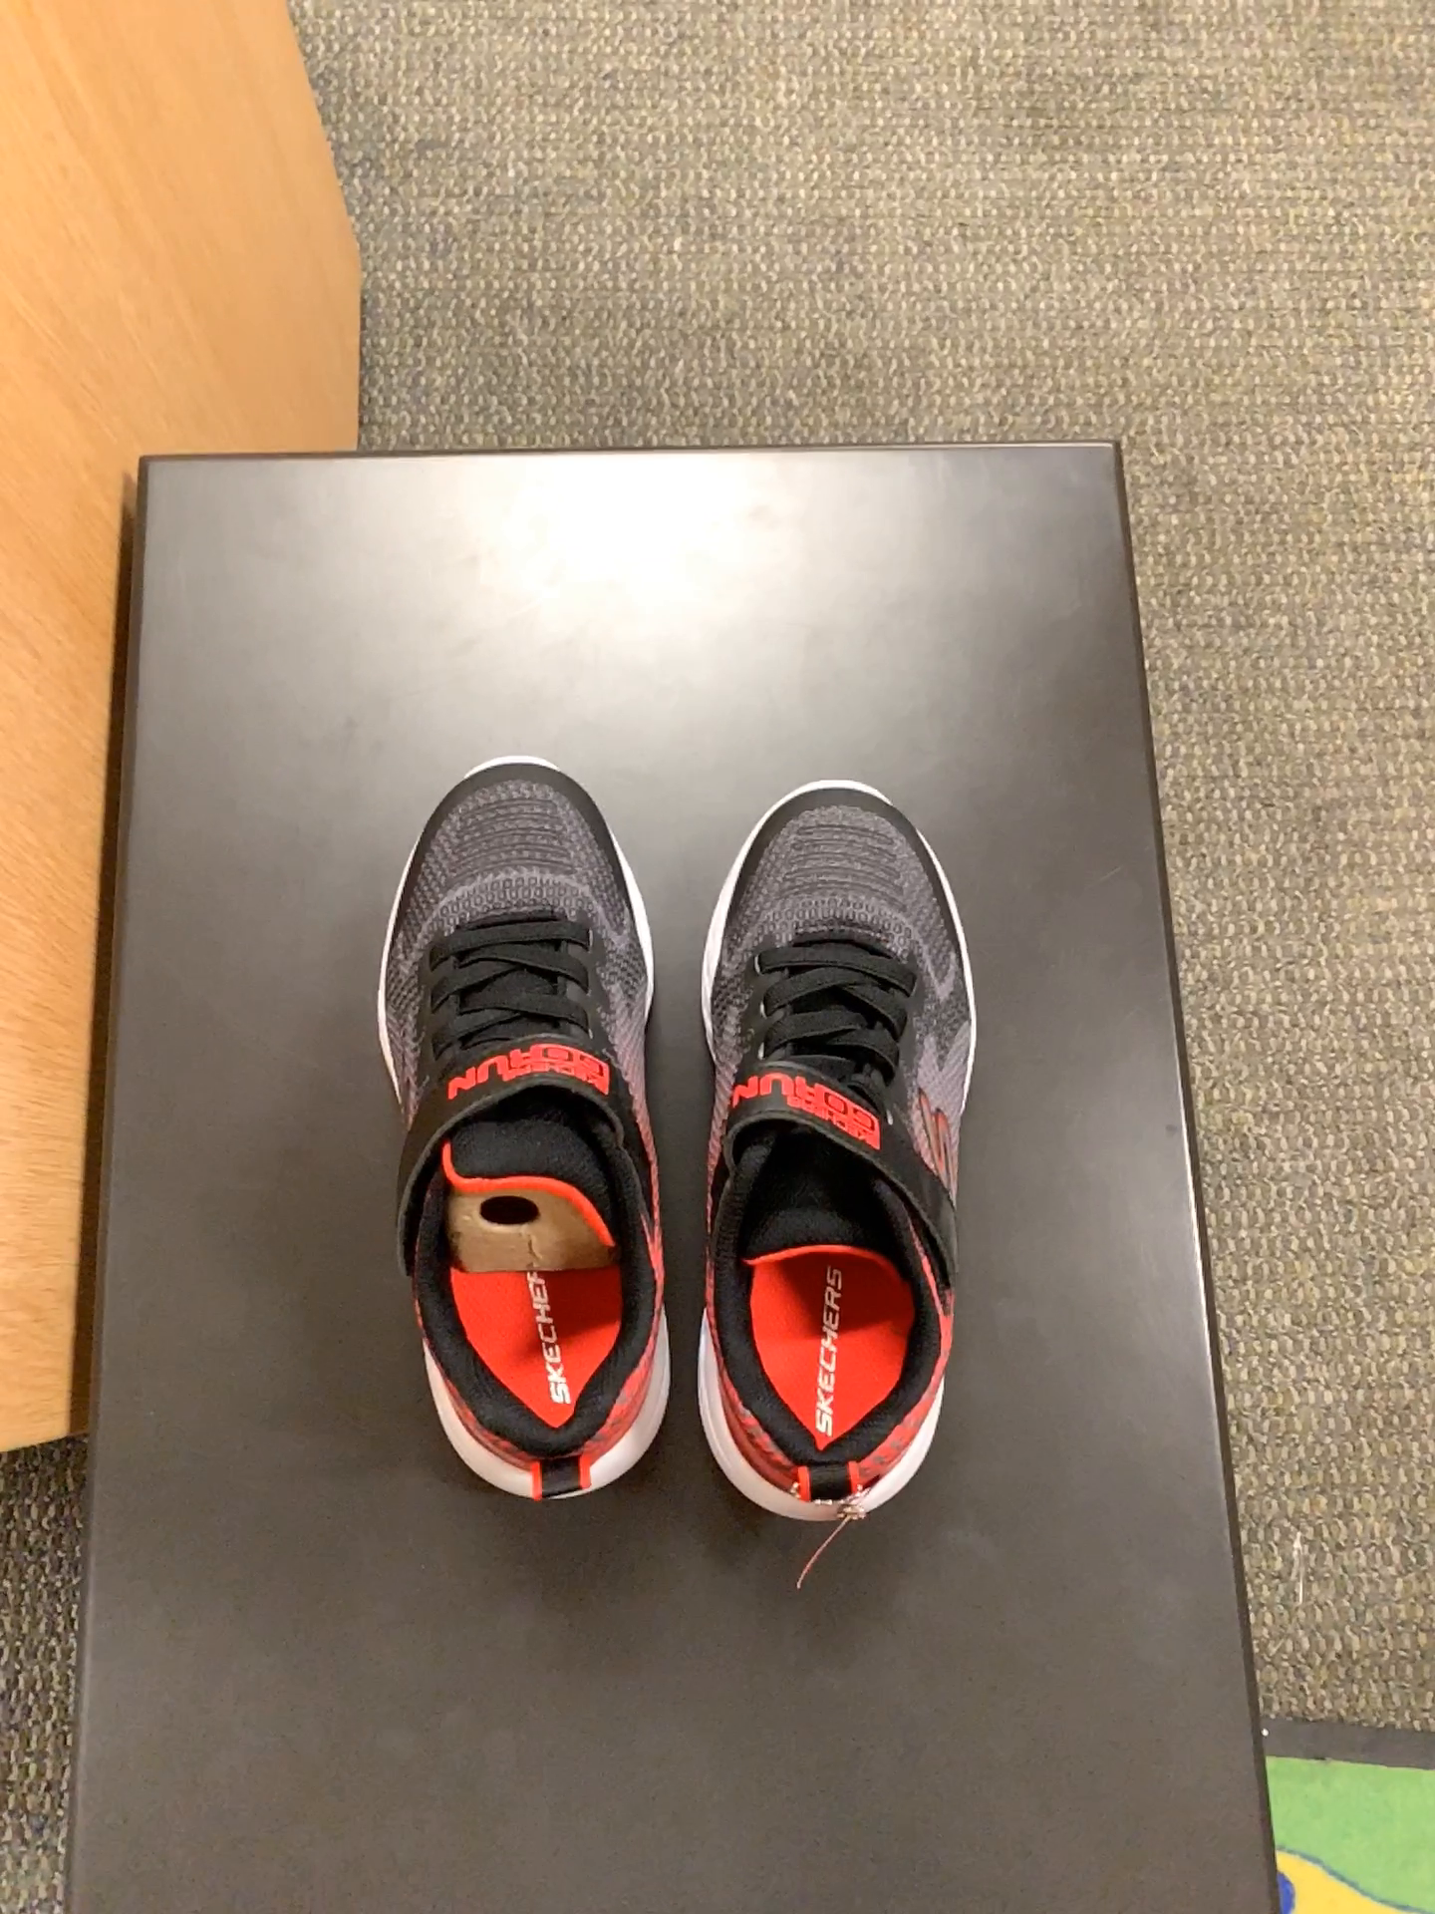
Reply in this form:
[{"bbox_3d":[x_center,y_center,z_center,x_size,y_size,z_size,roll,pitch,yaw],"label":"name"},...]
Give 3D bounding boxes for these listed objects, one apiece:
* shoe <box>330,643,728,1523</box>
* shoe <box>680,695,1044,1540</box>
[{"bbox_3d":[-0.057,0.036,0.452,0.090,0.080,0.240,-6,77,-3],"label":"shoe"},{"bbox_3d":[0.042,0.048,0.462,0.098,0.080,0.240,2,77,-1],"label":"shoe"}]
